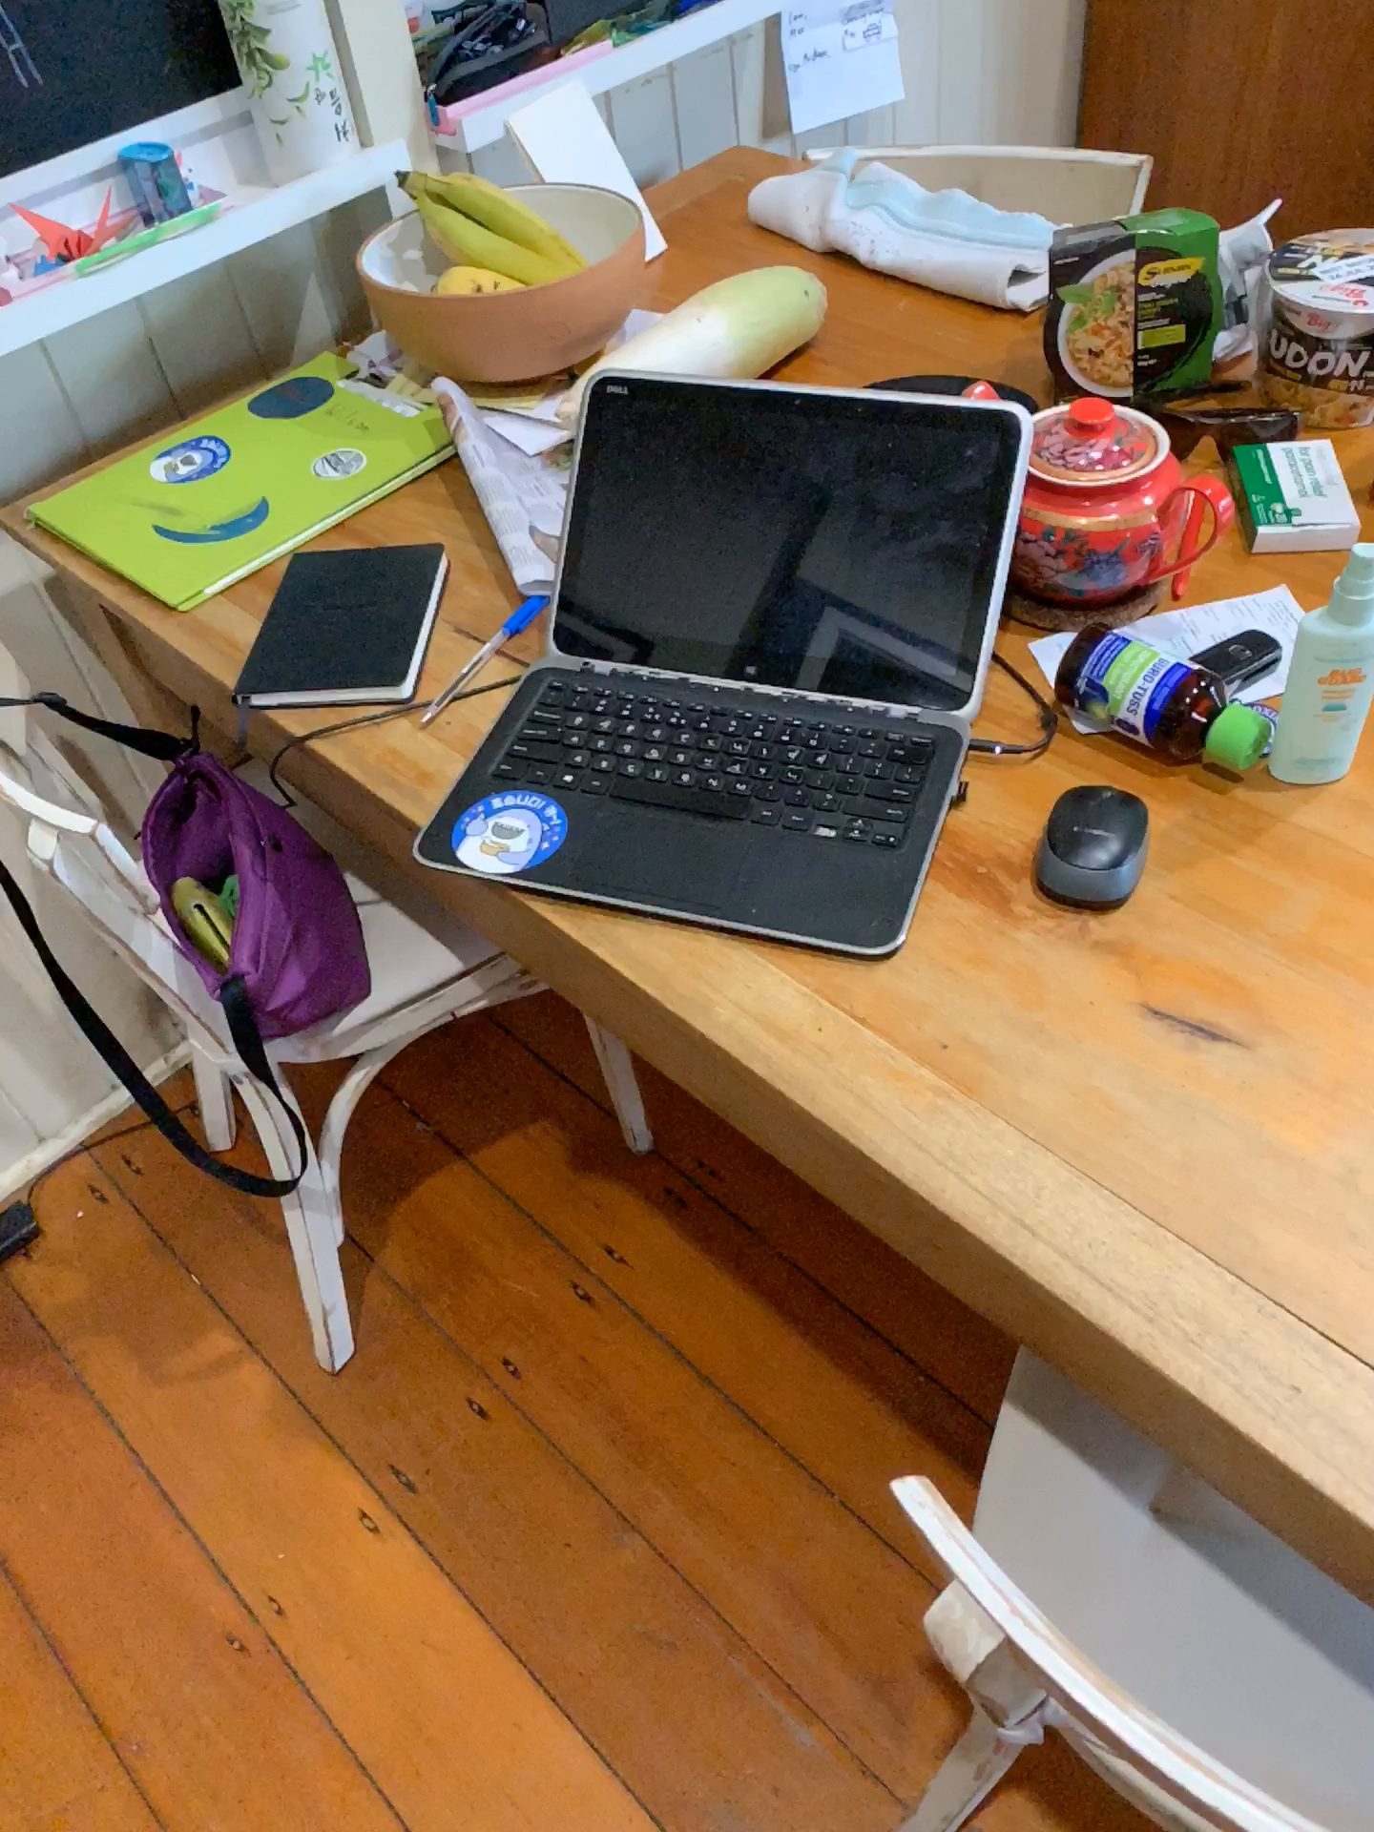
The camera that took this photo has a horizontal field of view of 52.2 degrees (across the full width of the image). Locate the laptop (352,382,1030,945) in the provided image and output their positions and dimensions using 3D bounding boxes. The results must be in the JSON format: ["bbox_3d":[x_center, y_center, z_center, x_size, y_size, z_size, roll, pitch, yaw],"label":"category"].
[{"bbox_3d":[0.024,-0.178,0.882,0.303,0.139,0.340,11,50,17],"label":"laptop"}]
